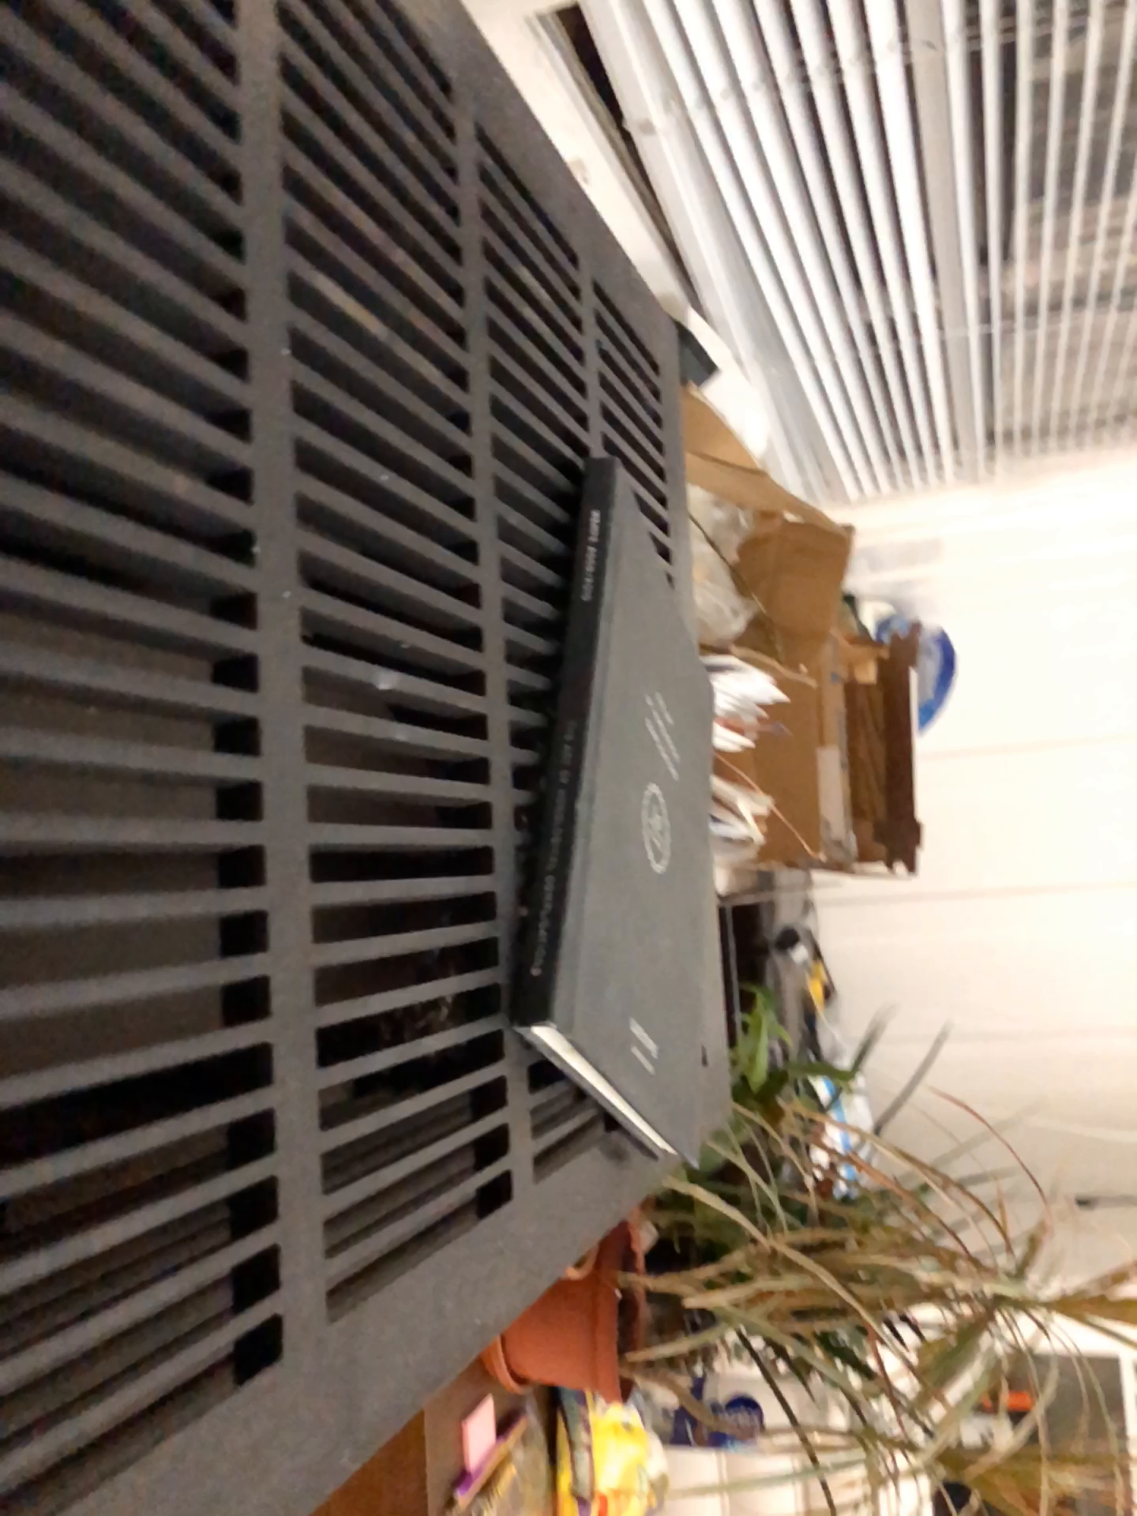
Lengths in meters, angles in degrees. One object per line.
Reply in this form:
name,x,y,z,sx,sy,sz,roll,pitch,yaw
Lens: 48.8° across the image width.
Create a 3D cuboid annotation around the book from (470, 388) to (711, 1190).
book,0.020,0.012,0.464,0.160,0.020,0.250,57,33,-53
